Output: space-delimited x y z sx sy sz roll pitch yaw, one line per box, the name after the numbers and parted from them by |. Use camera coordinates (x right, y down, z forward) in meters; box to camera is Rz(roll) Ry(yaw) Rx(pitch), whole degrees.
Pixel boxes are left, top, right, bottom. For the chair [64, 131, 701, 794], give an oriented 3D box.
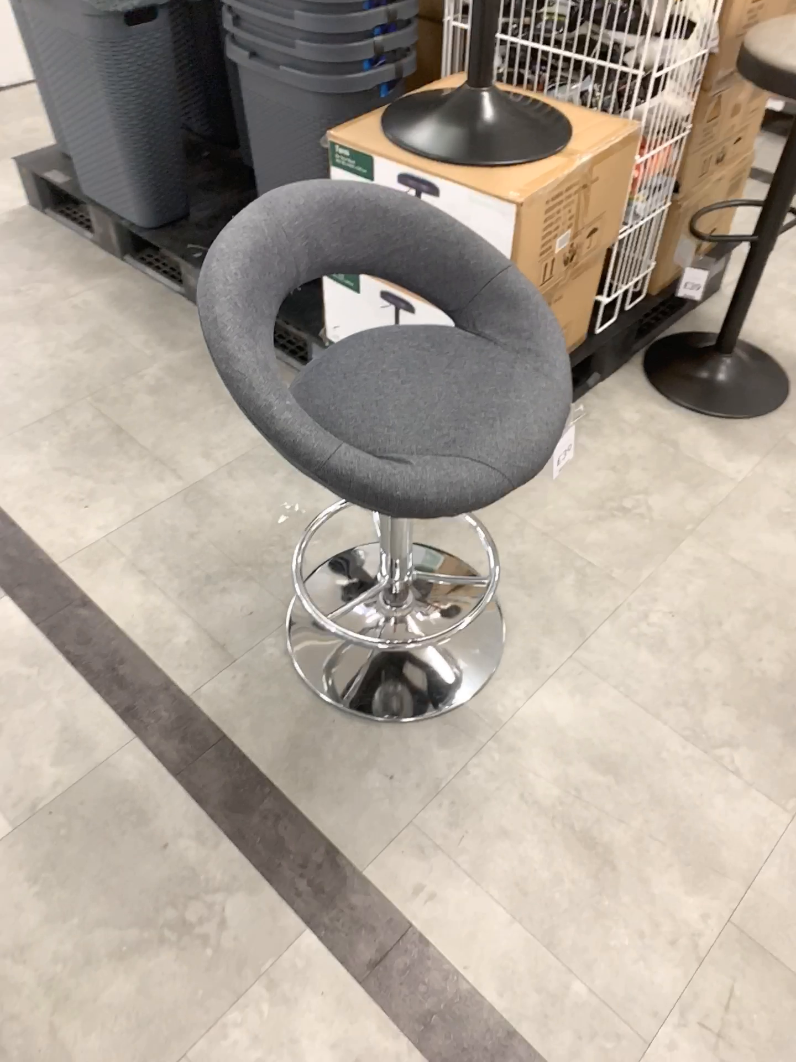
-0.006 -0.123 1.282 0.594 0.664 0.576 27 52 22 | chair
